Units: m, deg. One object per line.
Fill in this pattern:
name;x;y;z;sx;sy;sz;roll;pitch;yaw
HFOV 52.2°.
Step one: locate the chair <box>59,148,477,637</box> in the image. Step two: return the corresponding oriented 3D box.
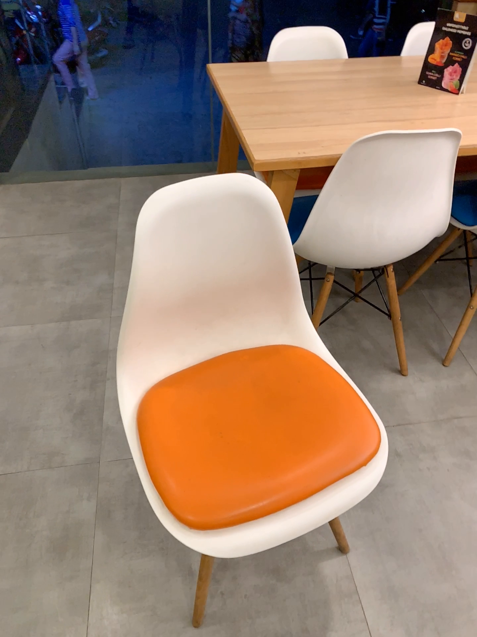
chair;0.010;0.154;0.910;0.441;0.724;0.453;-16;44;-19
